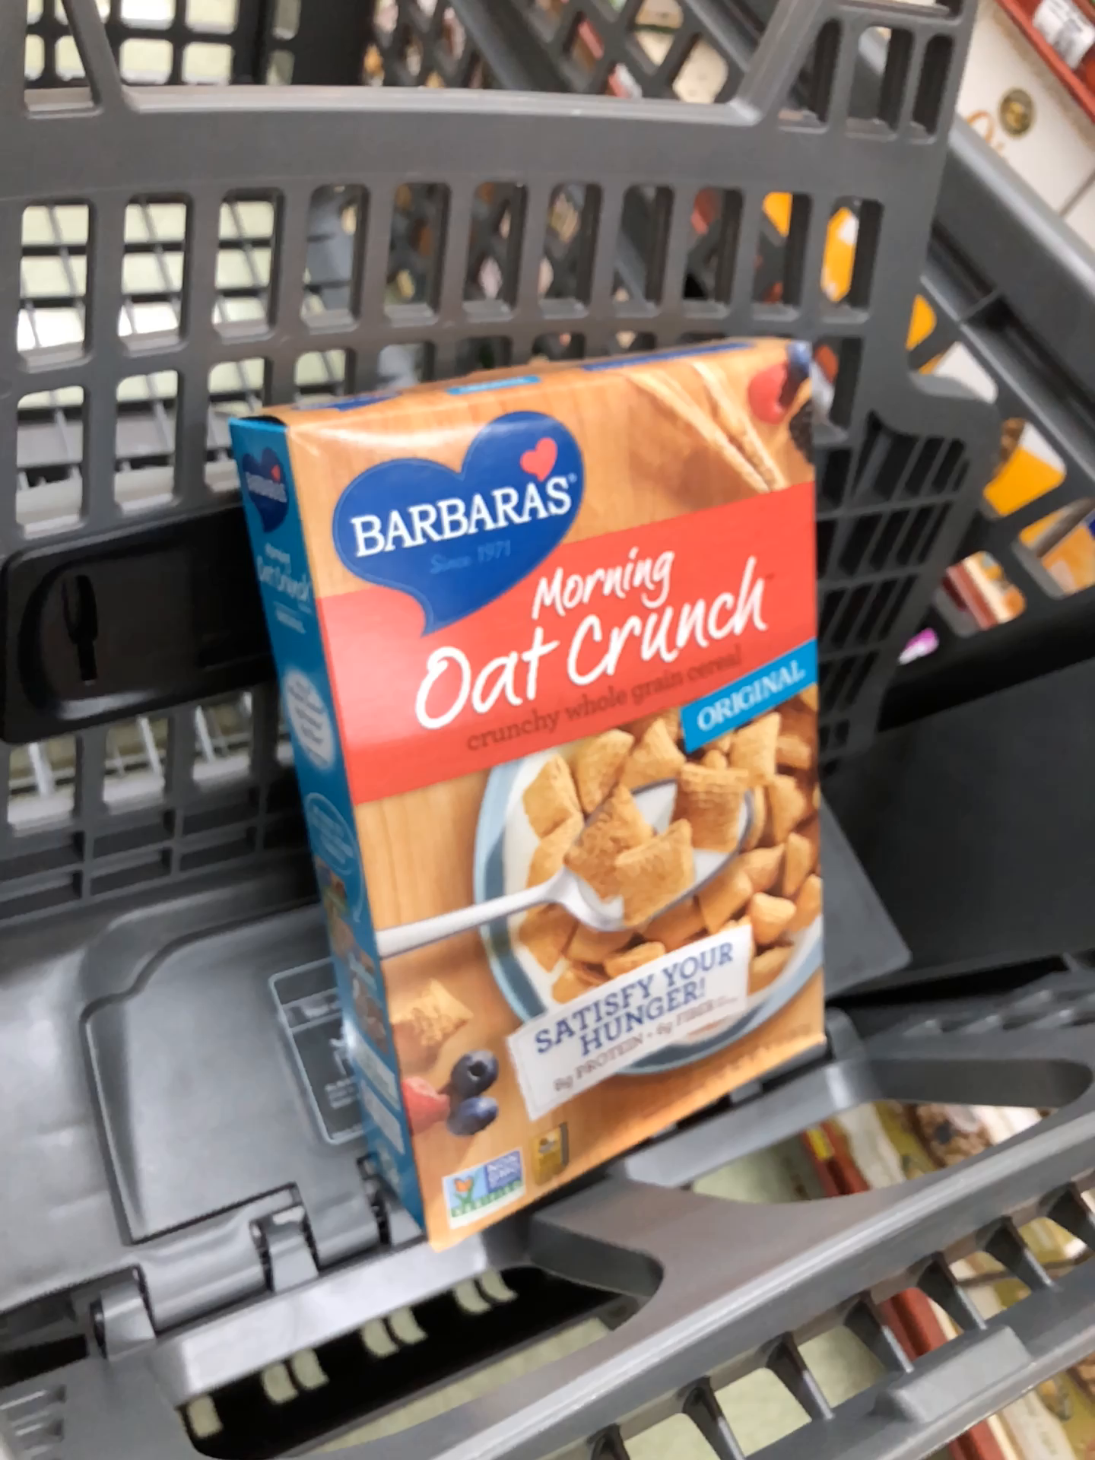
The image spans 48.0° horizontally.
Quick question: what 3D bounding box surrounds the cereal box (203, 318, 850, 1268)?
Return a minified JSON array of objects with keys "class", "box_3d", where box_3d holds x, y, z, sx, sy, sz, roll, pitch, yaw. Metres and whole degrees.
[{"class":"cereal box","box_3d":[0.011,0.013,0.399,0.180,0.260,0.060,-19,25,-29]}]
